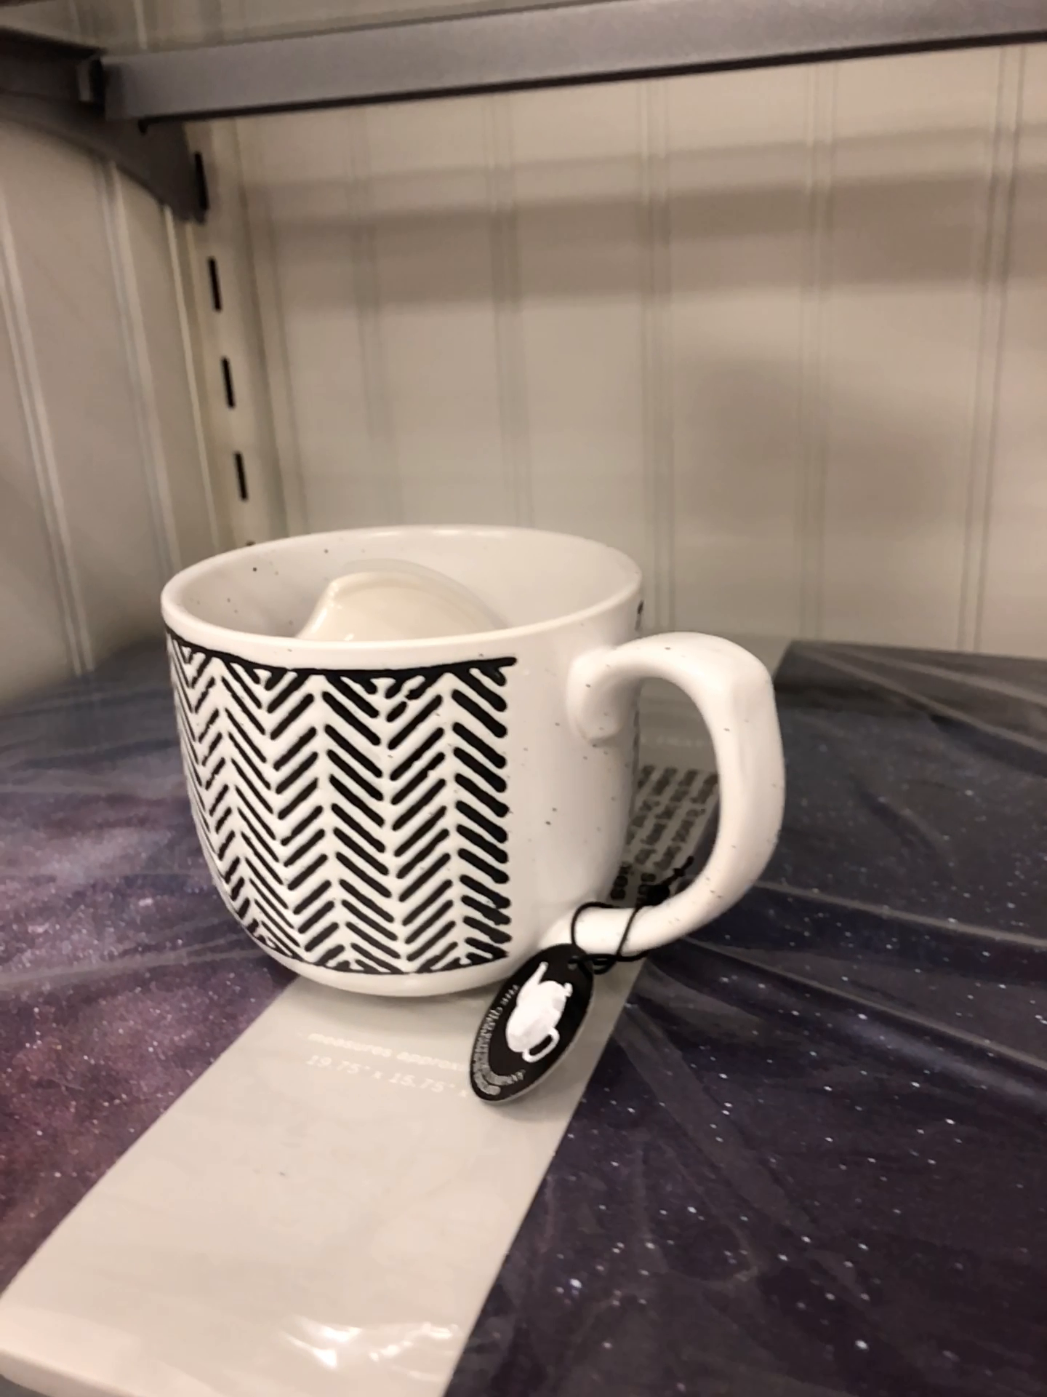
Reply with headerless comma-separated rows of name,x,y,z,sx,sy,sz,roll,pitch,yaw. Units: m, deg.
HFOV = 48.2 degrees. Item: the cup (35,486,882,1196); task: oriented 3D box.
cup,-0.015,0.010,0.239,0.140,0.079,0.090,14,27,39
